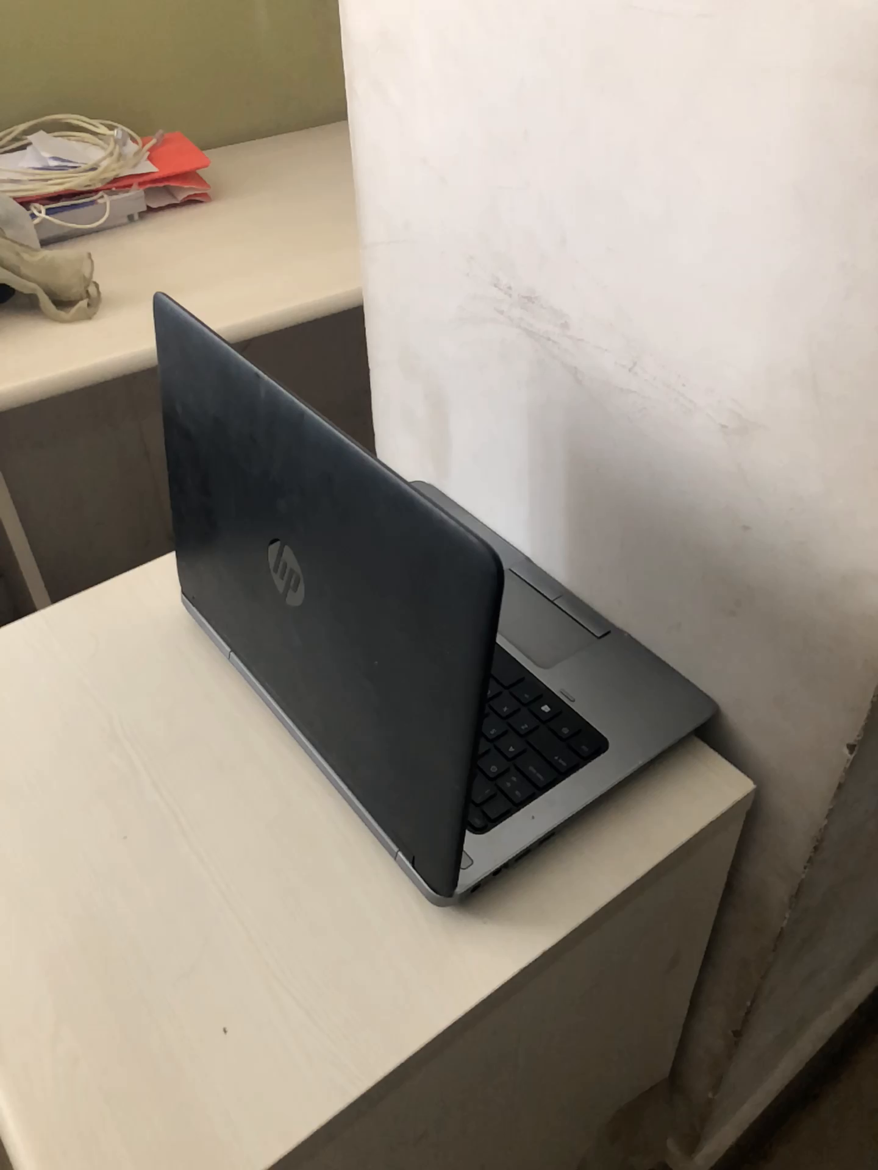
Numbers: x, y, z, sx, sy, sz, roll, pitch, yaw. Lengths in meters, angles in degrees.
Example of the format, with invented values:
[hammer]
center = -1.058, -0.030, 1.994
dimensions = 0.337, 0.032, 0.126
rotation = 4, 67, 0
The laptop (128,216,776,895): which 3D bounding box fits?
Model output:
[laptop]
center = -0.009, -0.040, 0.605
dimensions = 0.204, 0.226, 0.318
rotation = -28, 48, -24
